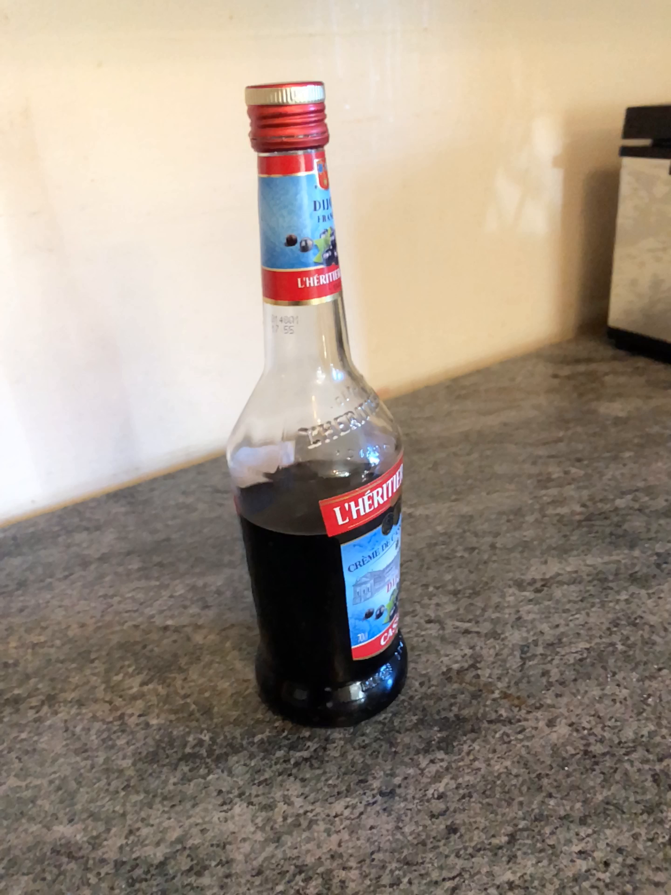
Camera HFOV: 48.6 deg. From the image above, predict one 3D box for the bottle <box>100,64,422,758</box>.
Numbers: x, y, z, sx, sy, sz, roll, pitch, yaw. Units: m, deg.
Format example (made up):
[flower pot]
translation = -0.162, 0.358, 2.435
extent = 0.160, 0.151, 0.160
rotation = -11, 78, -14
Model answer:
[bottle]
translation = -0.017, -0.009, 0.351
extent = 0.090, 0.298, 0.091
rotation = -3, 25, 2
